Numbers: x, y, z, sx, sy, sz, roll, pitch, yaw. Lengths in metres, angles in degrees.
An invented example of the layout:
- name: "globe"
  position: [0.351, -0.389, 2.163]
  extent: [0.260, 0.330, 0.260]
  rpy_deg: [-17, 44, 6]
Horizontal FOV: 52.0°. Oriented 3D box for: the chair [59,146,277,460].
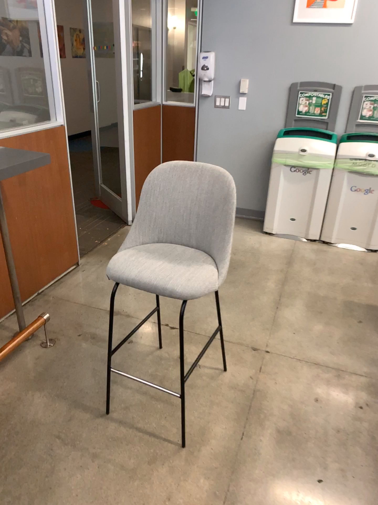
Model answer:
- name: "chair"
  position: [-0.042, 0.154, 1.828]
  extent: [0.591, 1.094, 0.813]
  rpy_deg: [13, 28, 21]
